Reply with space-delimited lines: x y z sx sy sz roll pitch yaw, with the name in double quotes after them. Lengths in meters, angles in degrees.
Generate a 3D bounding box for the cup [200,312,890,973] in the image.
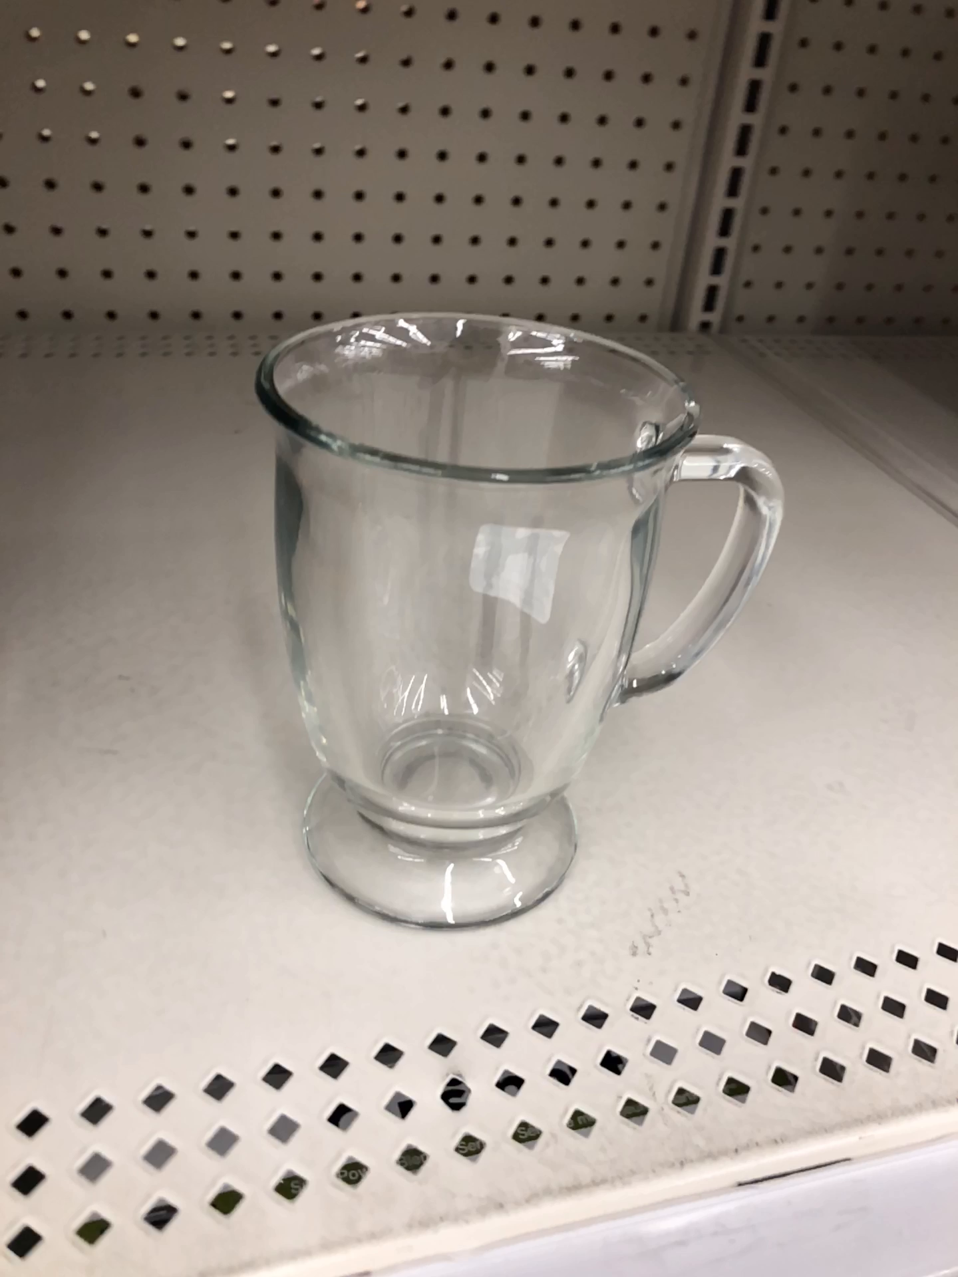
0.002 -0.007 0.288 0.138 0.128 0.110 -5 34 -15 "cup"
